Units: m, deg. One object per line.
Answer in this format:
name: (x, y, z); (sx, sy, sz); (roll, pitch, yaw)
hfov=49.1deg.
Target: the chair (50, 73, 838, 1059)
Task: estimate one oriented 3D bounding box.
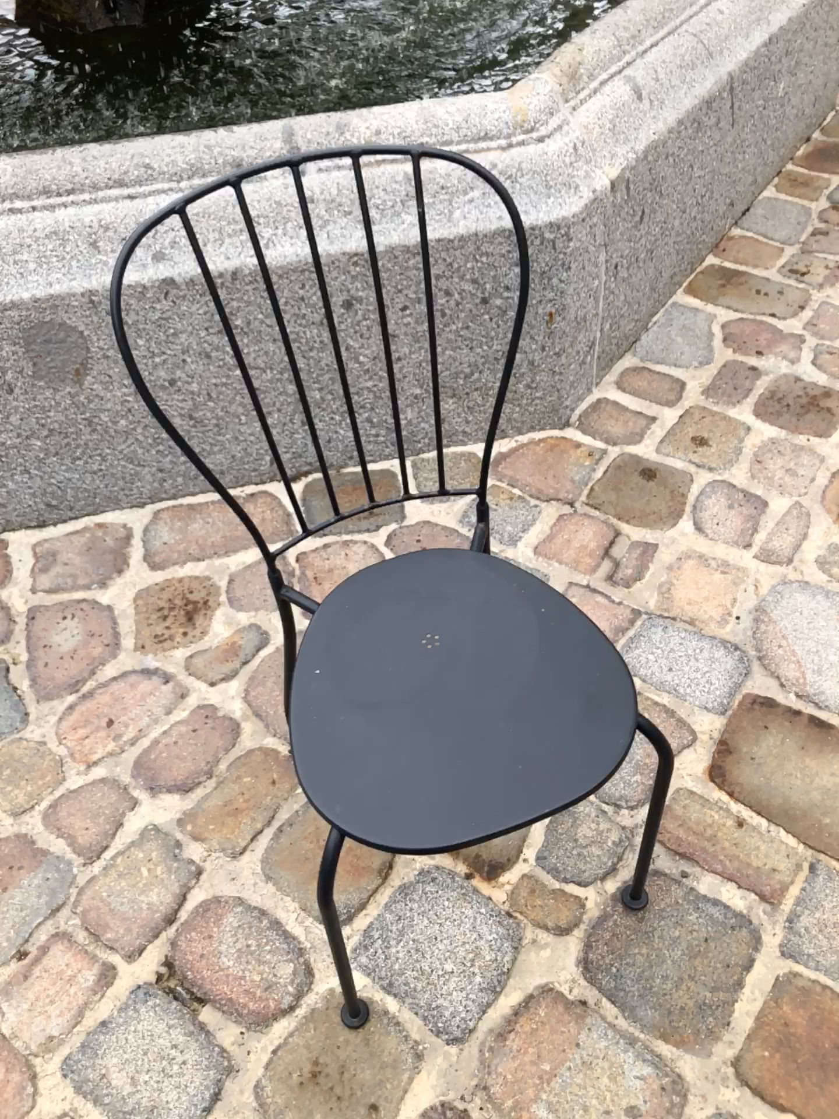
chair: (0.006, 0.055, 0.916); (0.421, 0.796, 0.472); (-18, 48, -11)
